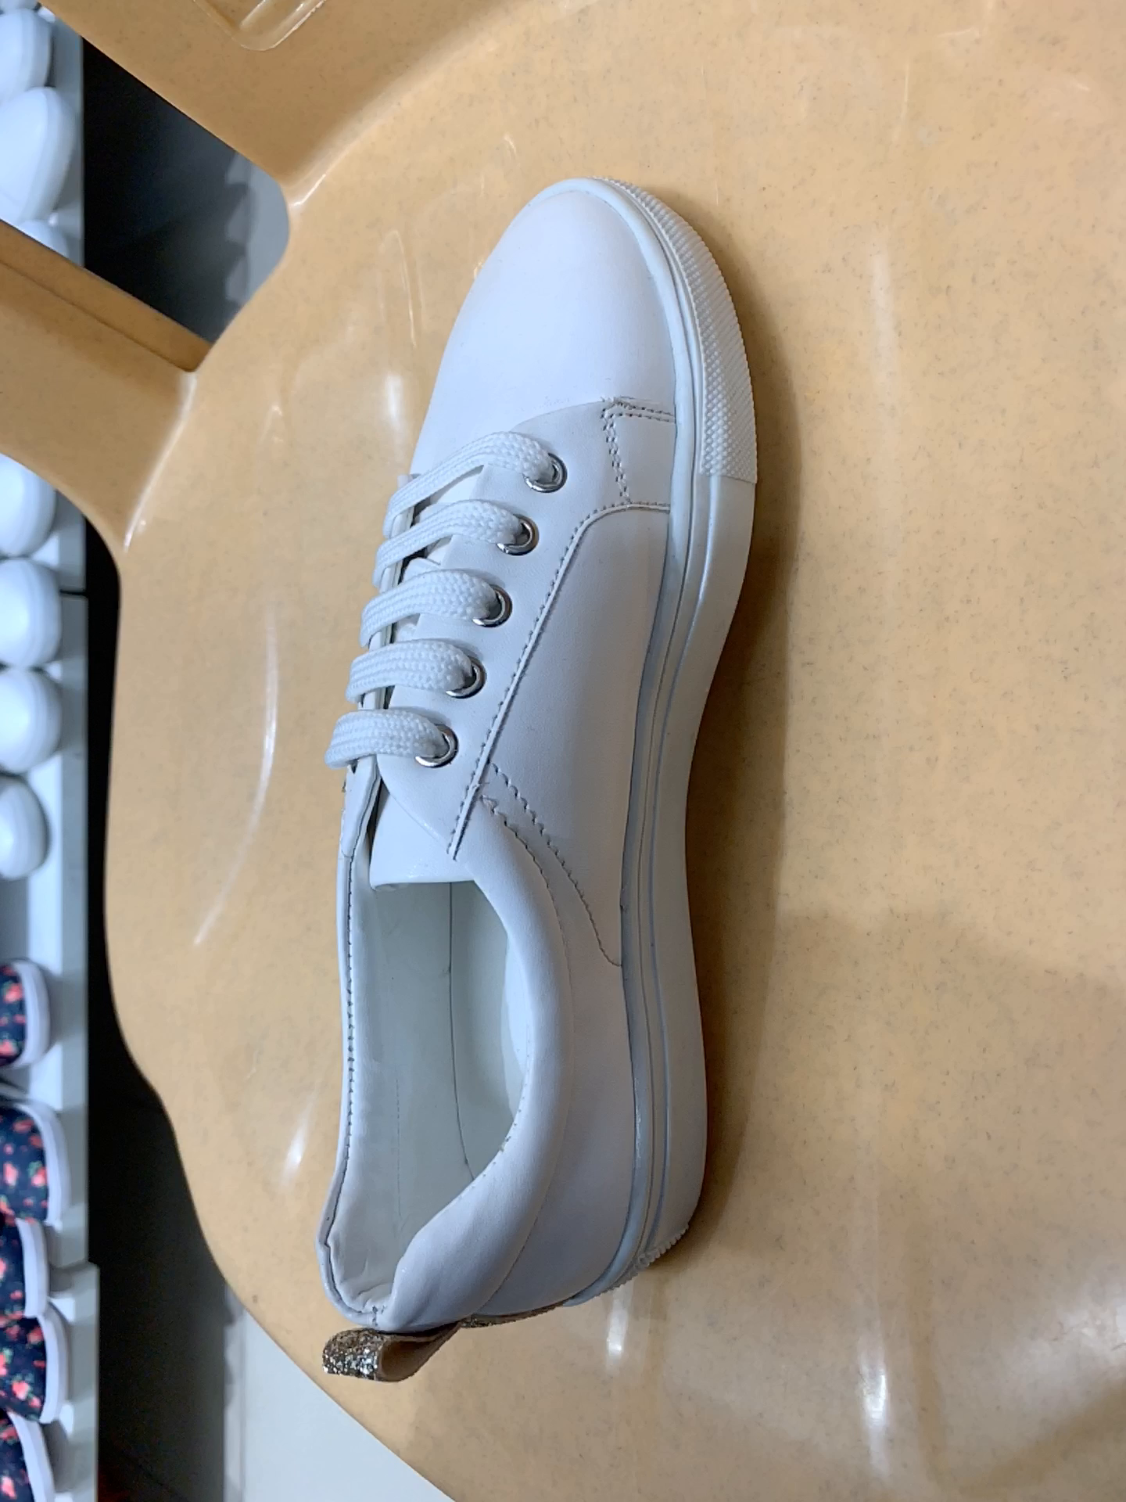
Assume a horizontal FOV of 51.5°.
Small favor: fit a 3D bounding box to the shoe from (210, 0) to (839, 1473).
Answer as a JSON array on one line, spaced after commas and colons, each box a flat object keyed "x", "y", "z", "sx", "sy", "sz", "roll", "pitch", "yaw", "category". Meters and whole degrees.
[{"x": -0.009, "y": -0.003, "z": 0.252, "sx": 0.090, "sy": 0.090, "sz": 0.240, "roll": -4, "pitch": 87, "yaw": 41, "category": "shoe"}]
